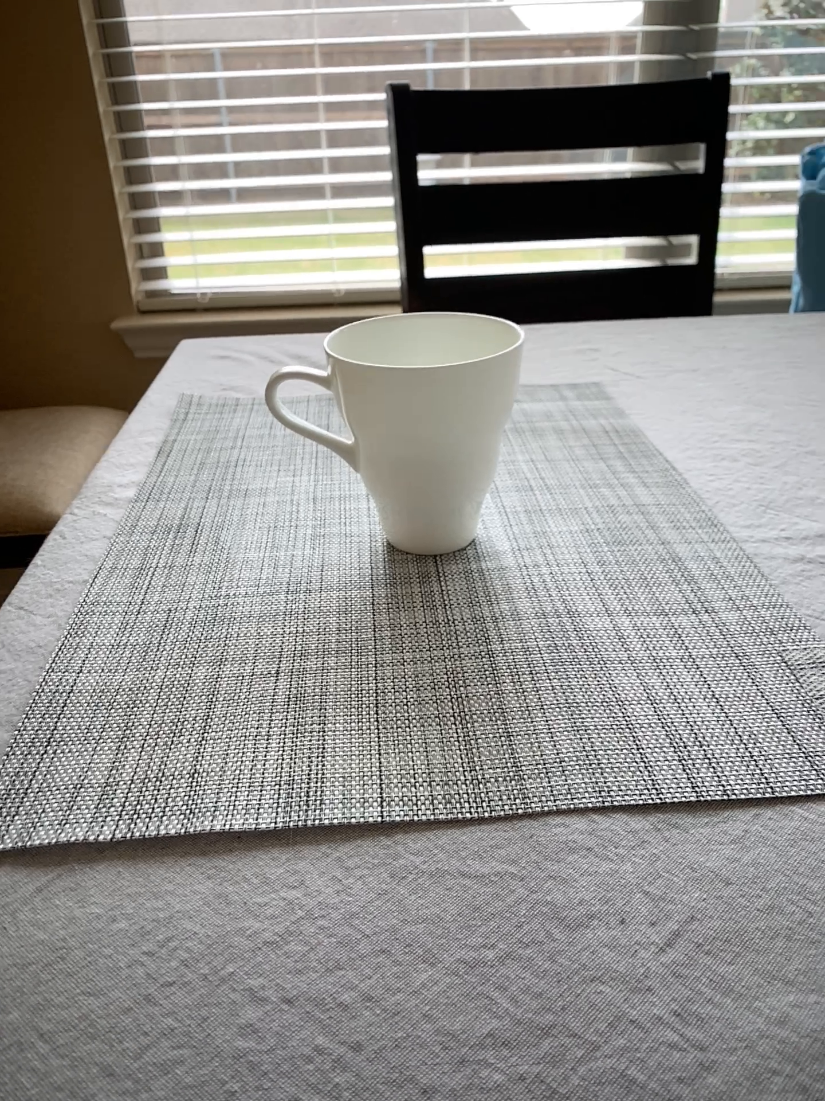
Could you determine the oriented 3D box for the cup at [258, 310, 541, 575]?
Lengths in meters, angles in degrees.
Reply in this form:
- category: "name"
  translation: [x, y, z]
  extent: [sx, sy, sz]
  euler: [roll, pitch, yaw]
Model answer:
- category: "cup"
  translation: [-0.006, -0.058, 0.427]
  extent: [0.121, 0.098, 0.099]
  euler: [-3, 27, -2]
